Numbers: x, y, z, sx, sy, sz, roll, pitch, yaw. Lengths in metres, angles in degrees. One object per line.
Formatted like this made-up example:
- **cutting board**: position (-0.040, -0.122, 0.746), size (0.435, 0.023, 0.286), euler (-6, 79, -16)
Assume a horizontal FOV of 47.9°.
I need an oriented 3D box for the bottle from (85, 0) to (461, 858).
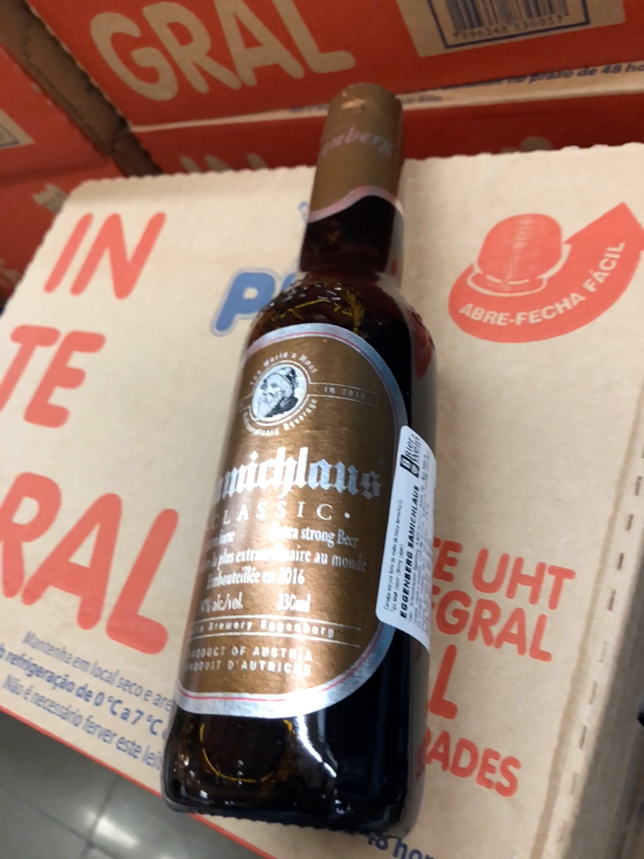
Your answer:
- **bottle**: position (0.003, -0.027, 0.207), size (0.060, 0.050, 0.251), euler (-8, 59, 24)
